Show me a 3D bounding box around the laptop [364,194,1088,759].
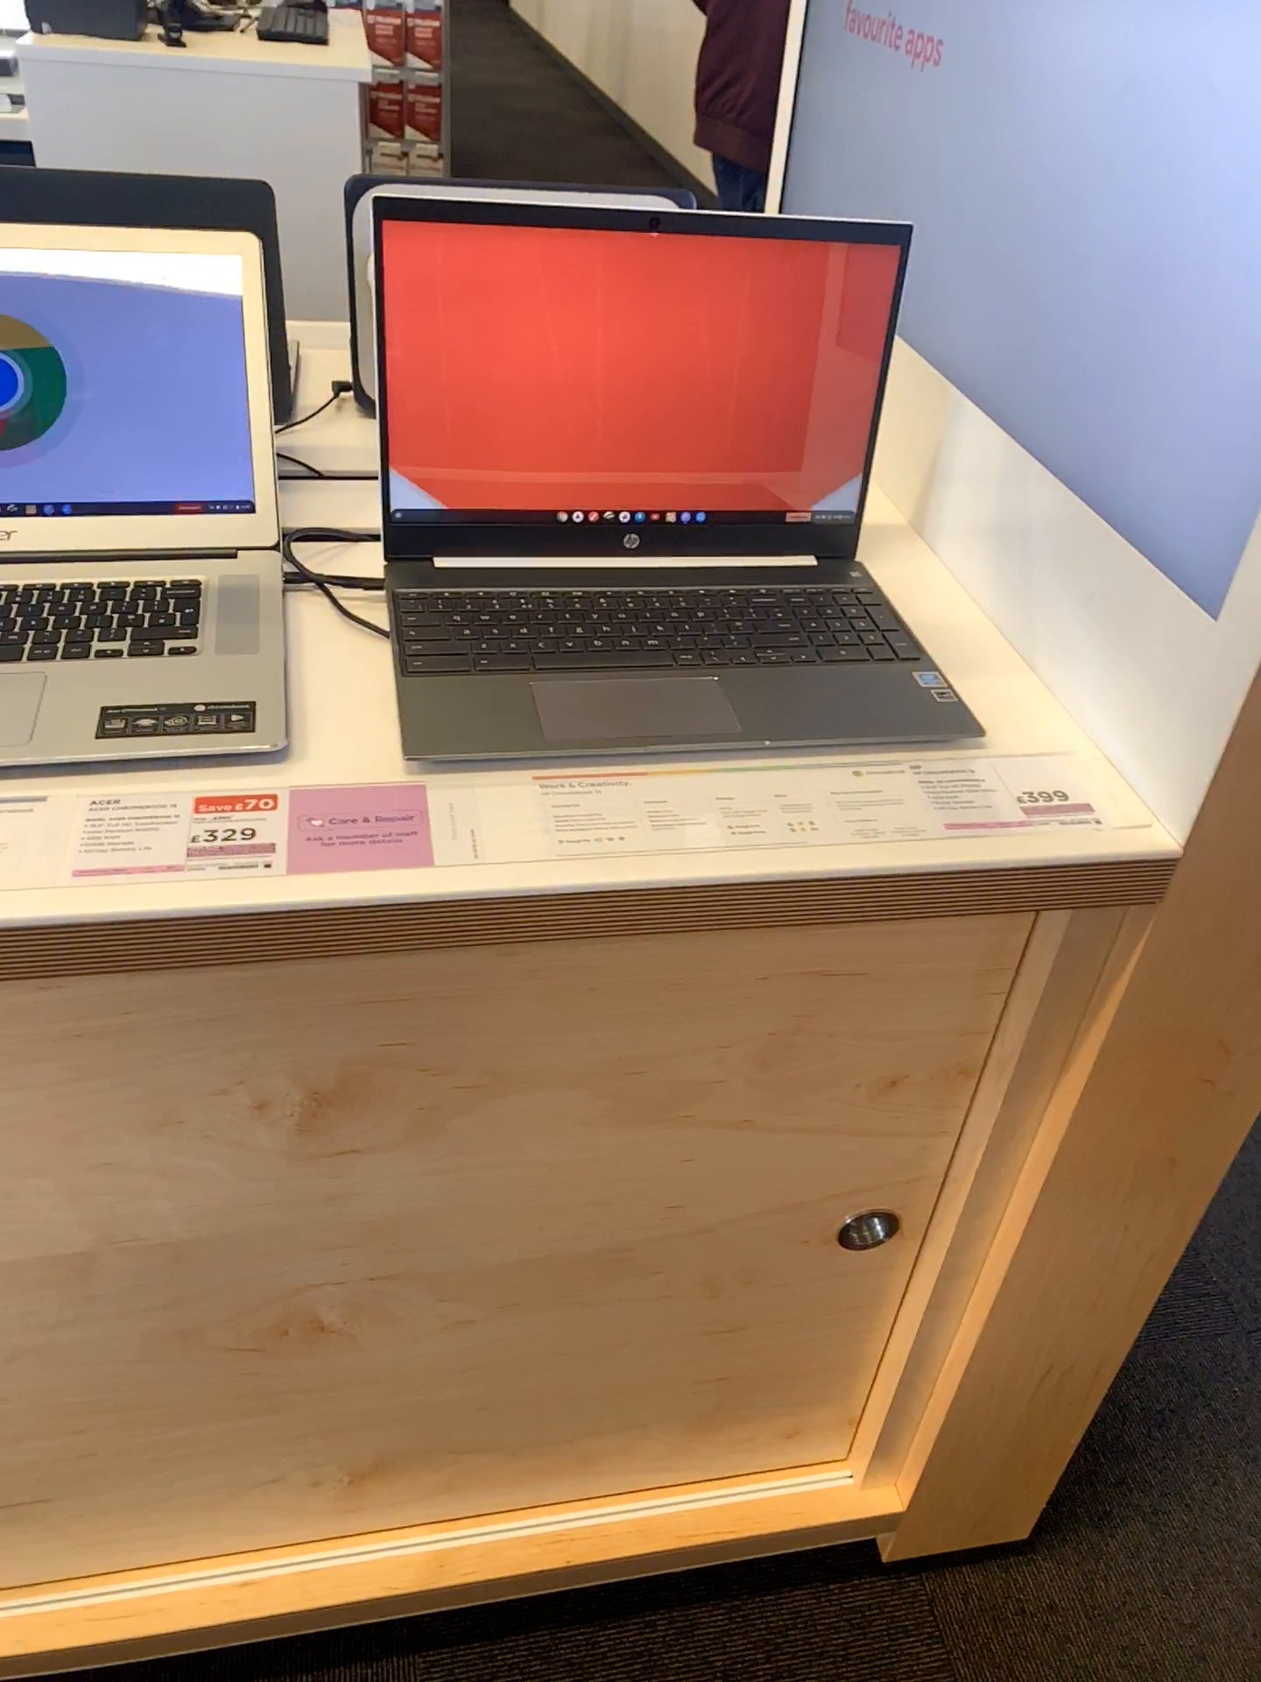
[{"bbox_3d":[0.027,-0.230,0.793,0.351,0.228,0.265,-3,39,-12],"label":"laptop"}]
